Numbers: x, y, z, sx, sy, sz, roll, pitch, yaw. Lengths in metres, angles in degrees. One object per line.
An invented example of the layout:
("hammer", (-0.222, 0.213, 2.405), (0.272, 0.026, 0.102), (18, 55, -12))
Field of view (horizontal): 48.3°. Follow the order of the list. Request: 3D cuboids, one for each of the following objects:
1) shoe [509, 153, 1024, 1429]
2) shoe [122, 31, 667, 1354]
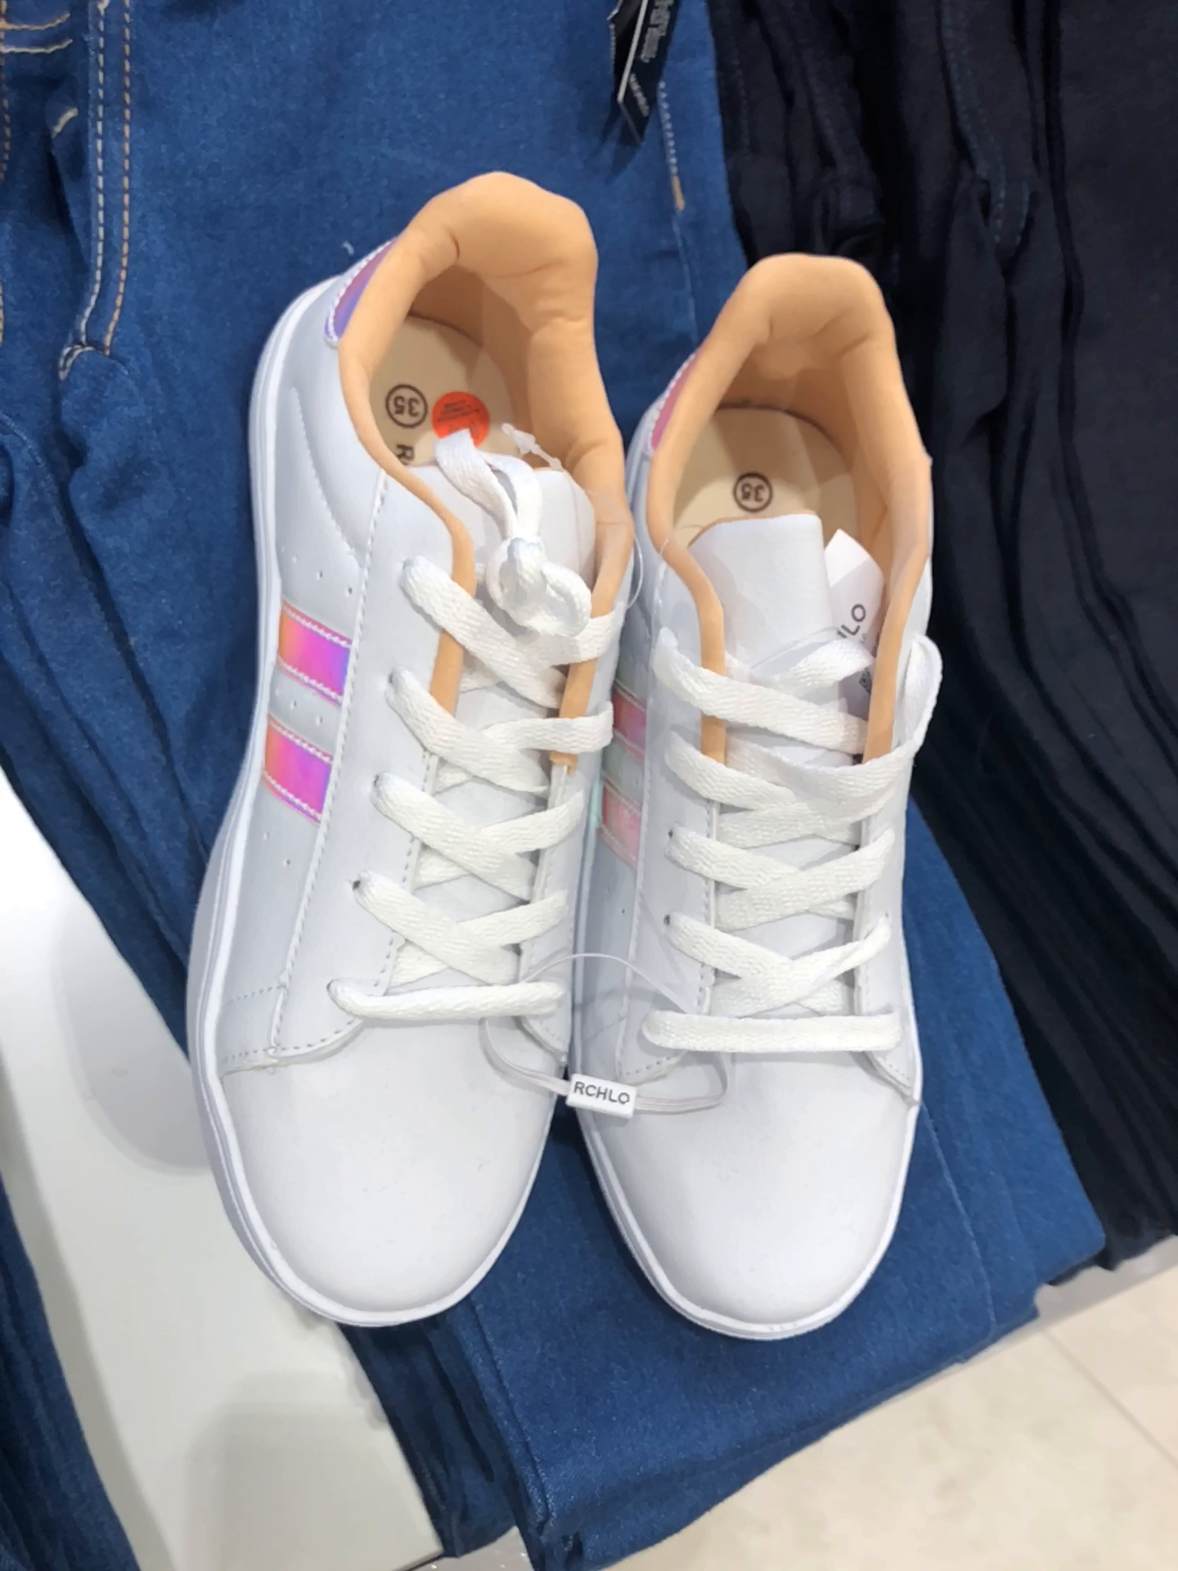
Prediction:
("shoe", (0.031, 0.001, 0.321), (0.090, 0.110, 0.260), (2, 78, -7))
("shoe", (-0.048, -0.017, 0.317), (0.090, 0.110, 0.260), (6, 77, -25))
